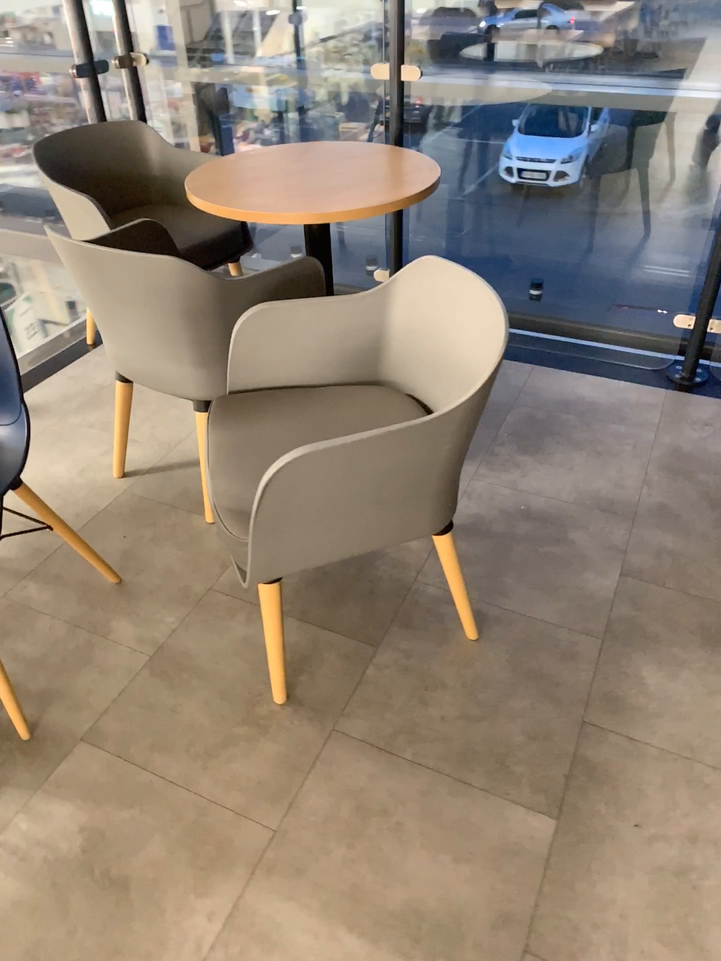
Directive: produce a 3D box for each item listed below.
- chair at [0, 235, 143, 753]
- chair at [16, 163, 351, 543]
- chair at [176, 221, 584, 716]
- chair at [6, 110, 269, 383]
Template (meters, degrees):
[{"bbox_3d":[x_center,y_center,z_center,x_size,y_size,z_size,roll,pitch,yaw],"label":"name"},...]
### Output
[{"bbox_3d":[-0.800,0.025,1.367,0.473,0.784,0.514,3,36,6],"label":"chair"},{"bbox_3d":[-0.403,-0.356,1.927,0.515,0.724,0.543,22,43,28],"label":"chair"},{"bbox_3d":[-0.006,-0.041,1.480,0.580,0.734,0.549,-9,37,-11],"label":"chair"},{"bbox_3d":[-0.733,-0.834,2.567,0.581,0.724,0.487,18,41,25],"label":"chair"}]
